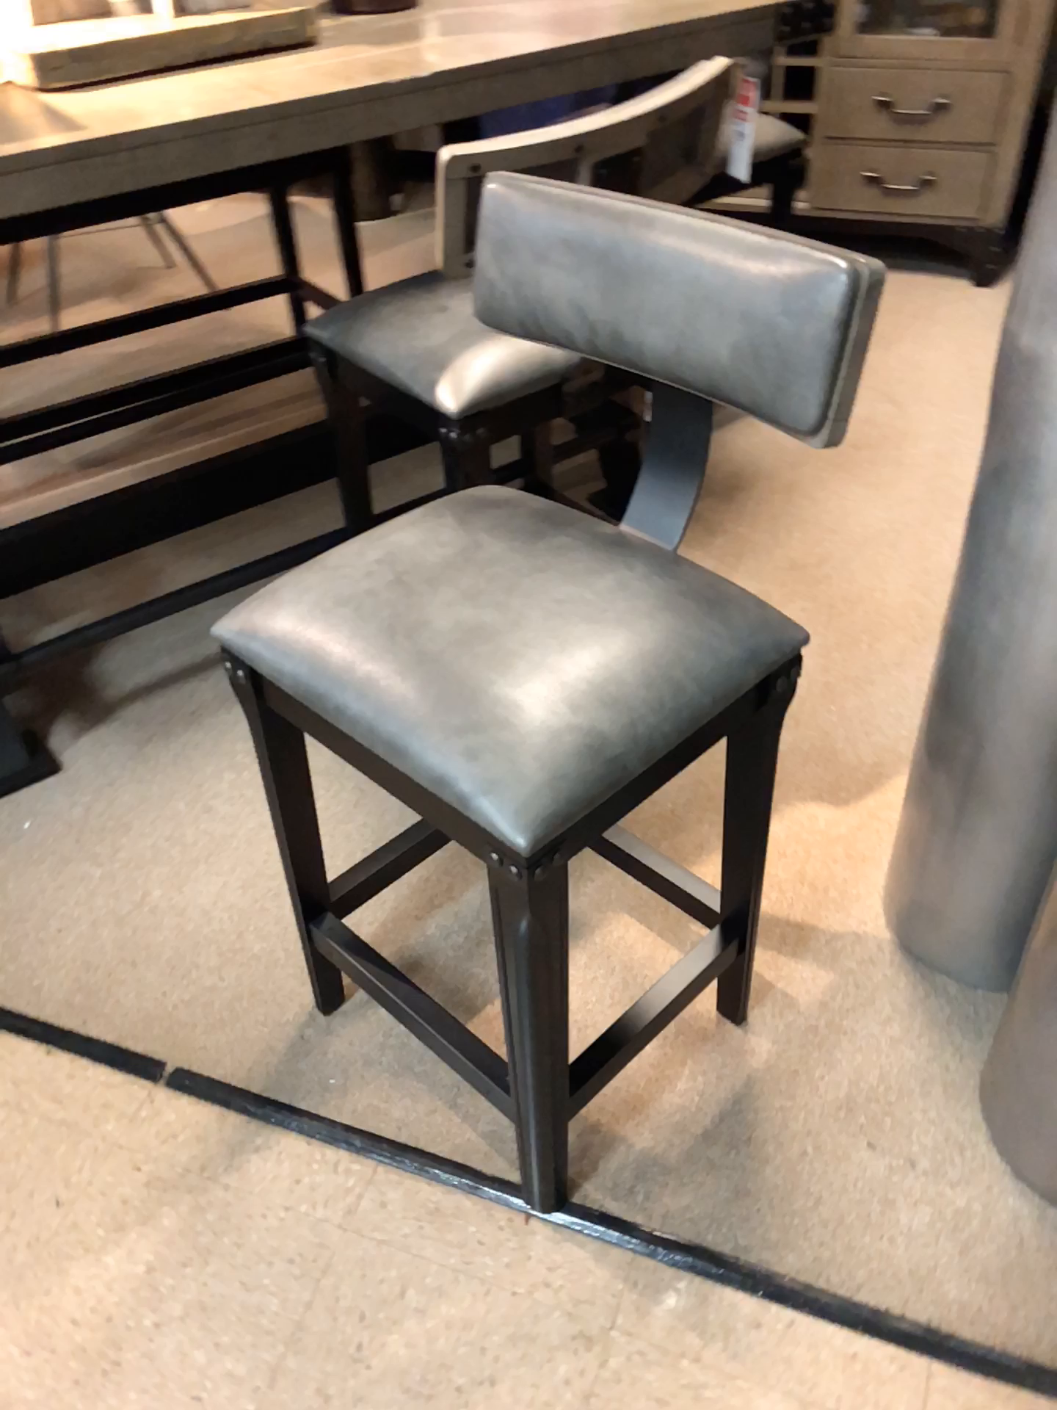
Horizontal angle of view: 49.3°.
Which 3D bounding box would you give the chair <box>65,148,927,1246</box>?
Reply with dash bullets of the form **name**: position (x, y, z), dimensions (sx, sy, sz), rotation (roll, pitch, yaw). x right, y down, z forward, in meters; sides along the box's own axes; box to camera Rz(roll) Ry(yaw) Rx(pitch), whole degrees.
- **chair**: position (-0.004, 0.009, 1.128), dimensions (0.442, 0.864, 0.462), rotation (30, 51, 33)
